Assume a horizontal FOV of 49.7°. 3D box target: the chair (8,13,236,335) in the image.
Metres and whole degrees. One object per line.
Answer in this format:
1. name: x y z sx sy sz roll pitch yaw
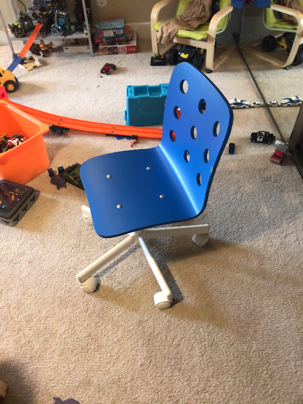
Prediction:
1. chair: -0.096 -0.059 0.958 0.361 0.705 0.523 -16 48 -12
